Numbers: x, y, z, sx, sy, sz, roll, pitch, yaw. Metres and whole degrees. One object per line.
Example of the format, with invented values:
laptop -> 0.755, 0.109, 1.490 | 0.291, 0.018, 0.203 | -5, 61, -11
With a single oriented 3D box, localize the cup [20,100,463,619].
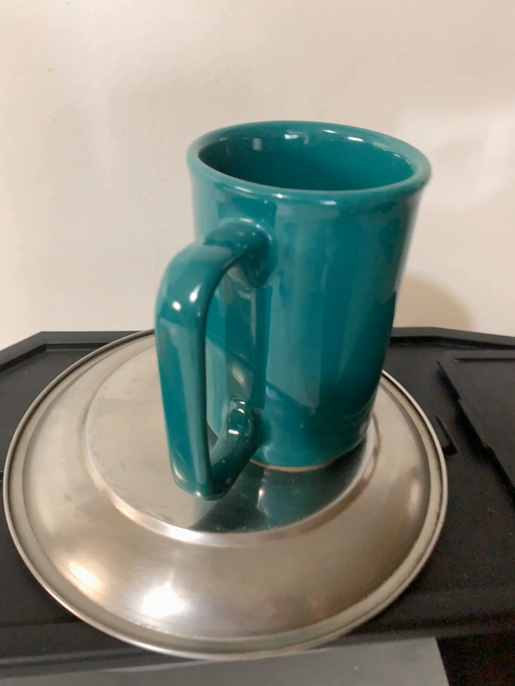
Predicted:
cup -> 0.005, -0.007, 0.189 | 0.080, 0.119, 0.121 | 18, 38, 21
